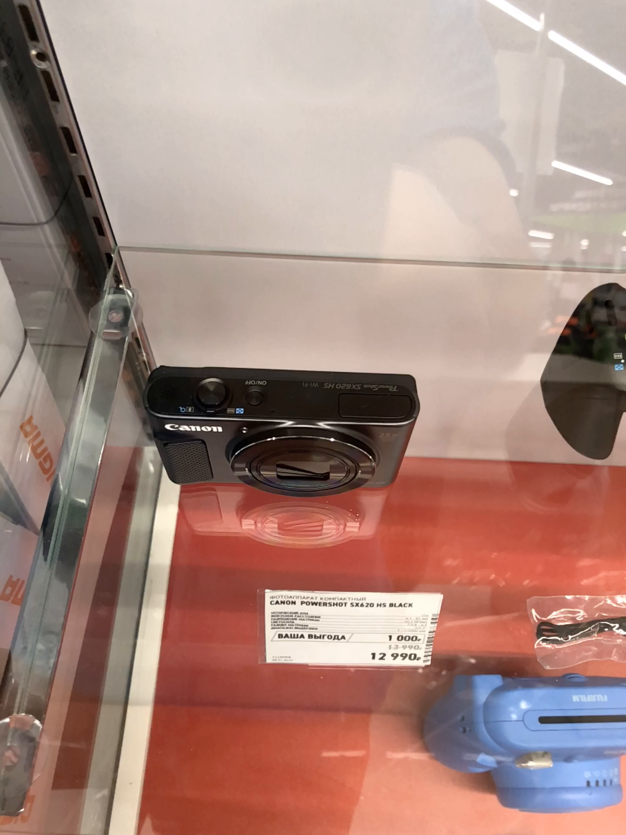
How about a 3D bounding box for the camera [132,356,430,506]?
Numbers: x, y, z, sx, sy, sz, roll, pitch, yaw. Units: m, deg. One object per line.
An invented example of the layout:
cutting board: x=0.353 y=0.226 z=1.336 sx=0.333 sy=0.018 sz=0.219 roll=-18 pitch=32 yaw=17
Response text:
camera: x=-0.011 y=0.007 z=0.260 sx=0.098 sy=0.055 sz=0.030 roll=2 pitch=61 yaw=0
